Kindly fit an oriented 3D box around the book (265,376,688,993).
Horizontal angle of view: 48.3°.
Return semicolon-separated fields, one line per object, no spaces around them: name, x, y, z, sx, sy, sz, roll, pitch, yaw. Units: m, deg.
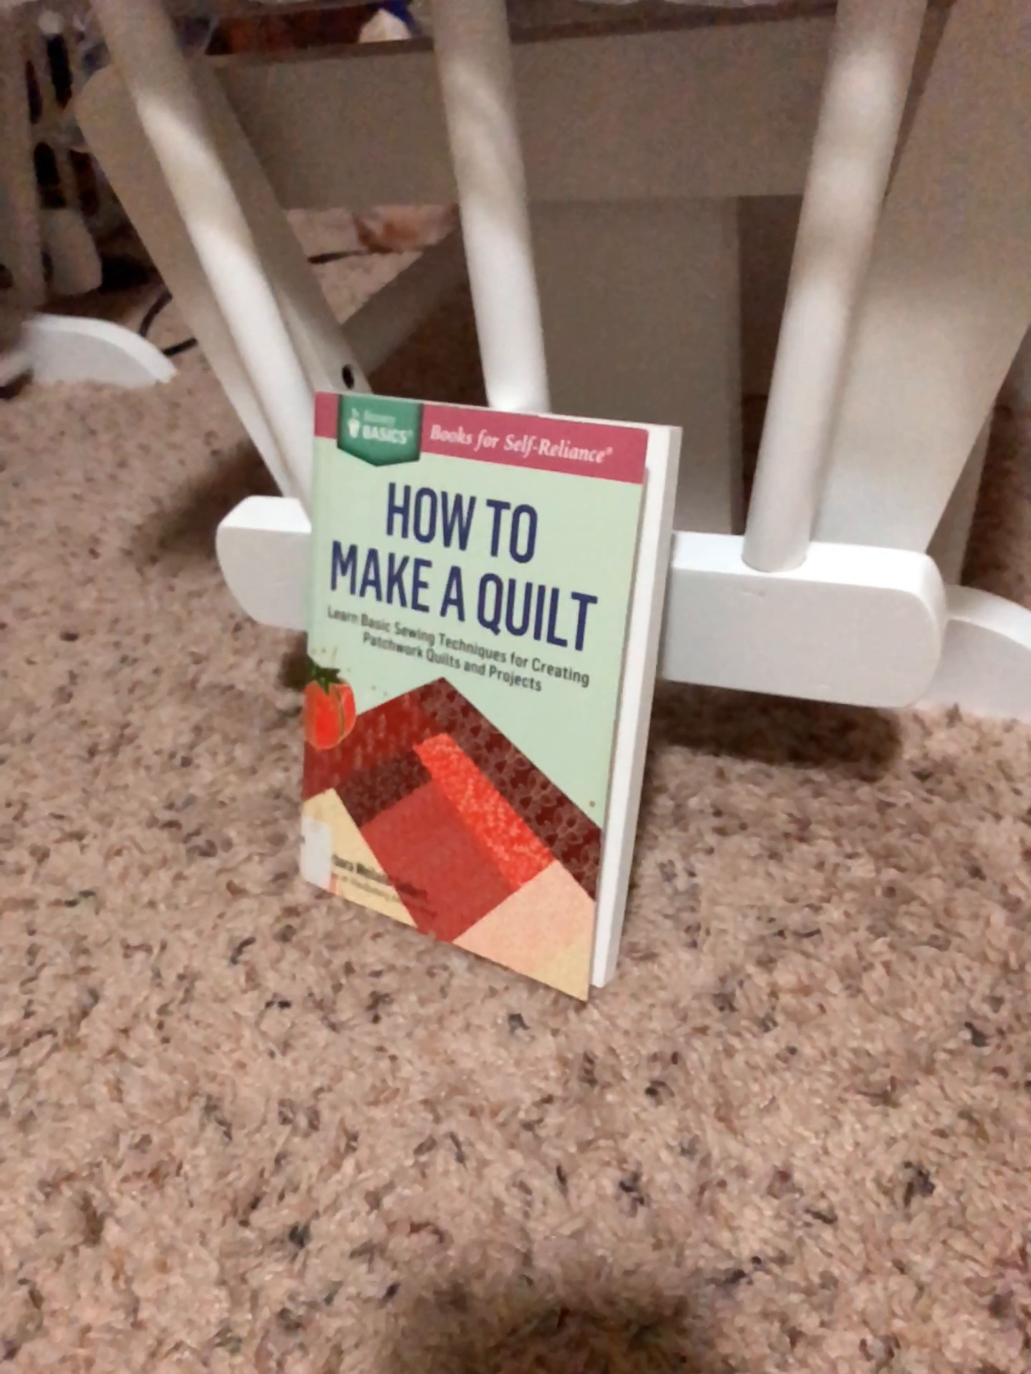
book;-0.021;-0.005;0.364;0.130;0.168;0.020;15;17;30
